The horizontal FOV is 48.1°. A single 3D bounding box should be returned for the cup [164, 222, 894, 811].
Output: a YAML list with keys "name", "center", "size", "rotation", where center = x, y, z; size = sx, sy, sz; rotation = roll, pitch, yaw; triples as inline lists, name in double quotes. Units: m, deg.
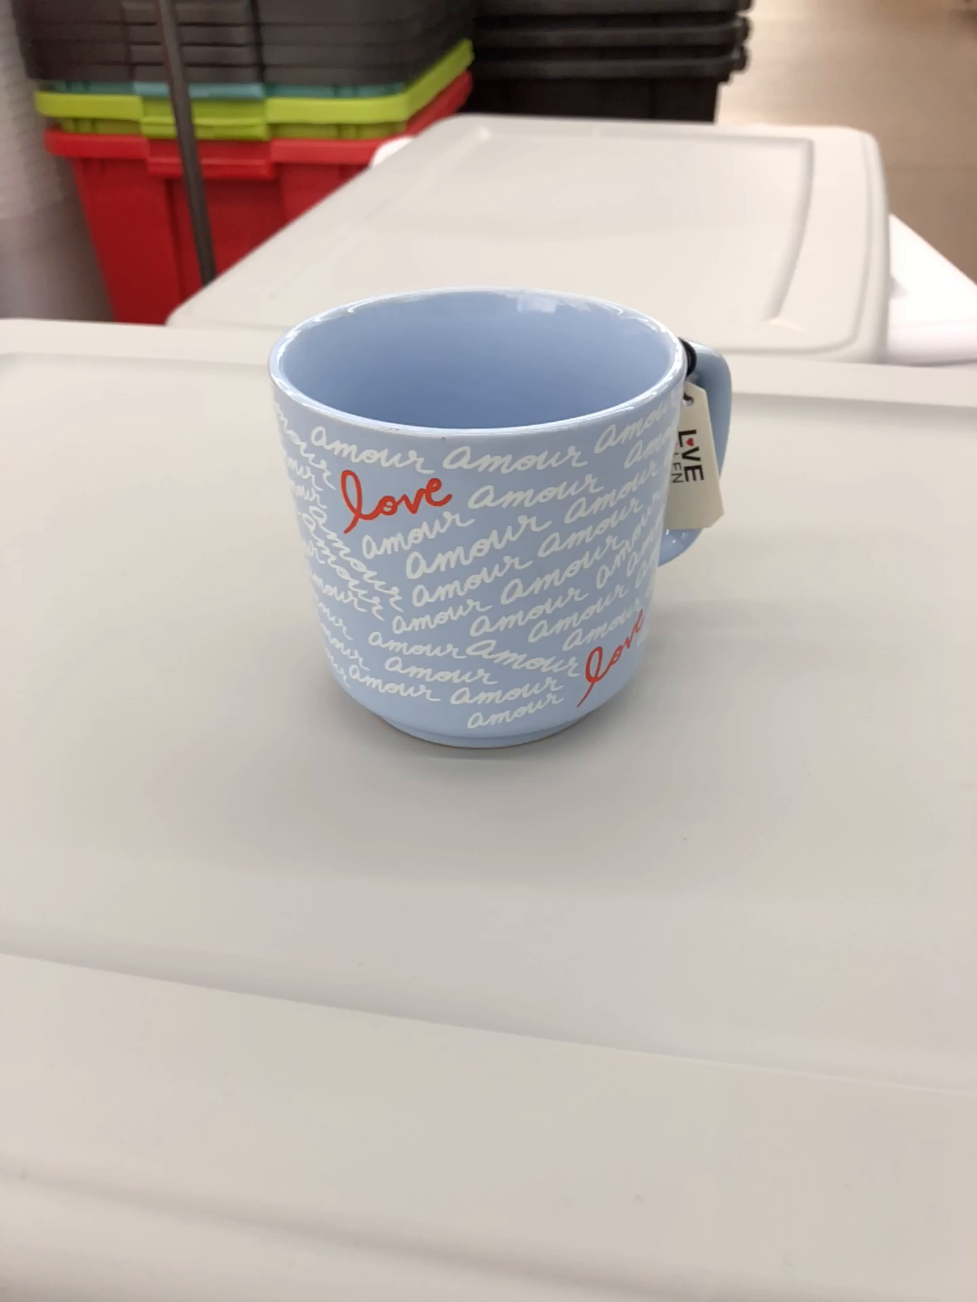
- name: "cup"
  center: [0.011, -0.046, 0.281]
  size: [0.140, 0.080, 0.100]
  rotation: [-25, 42, -29]
